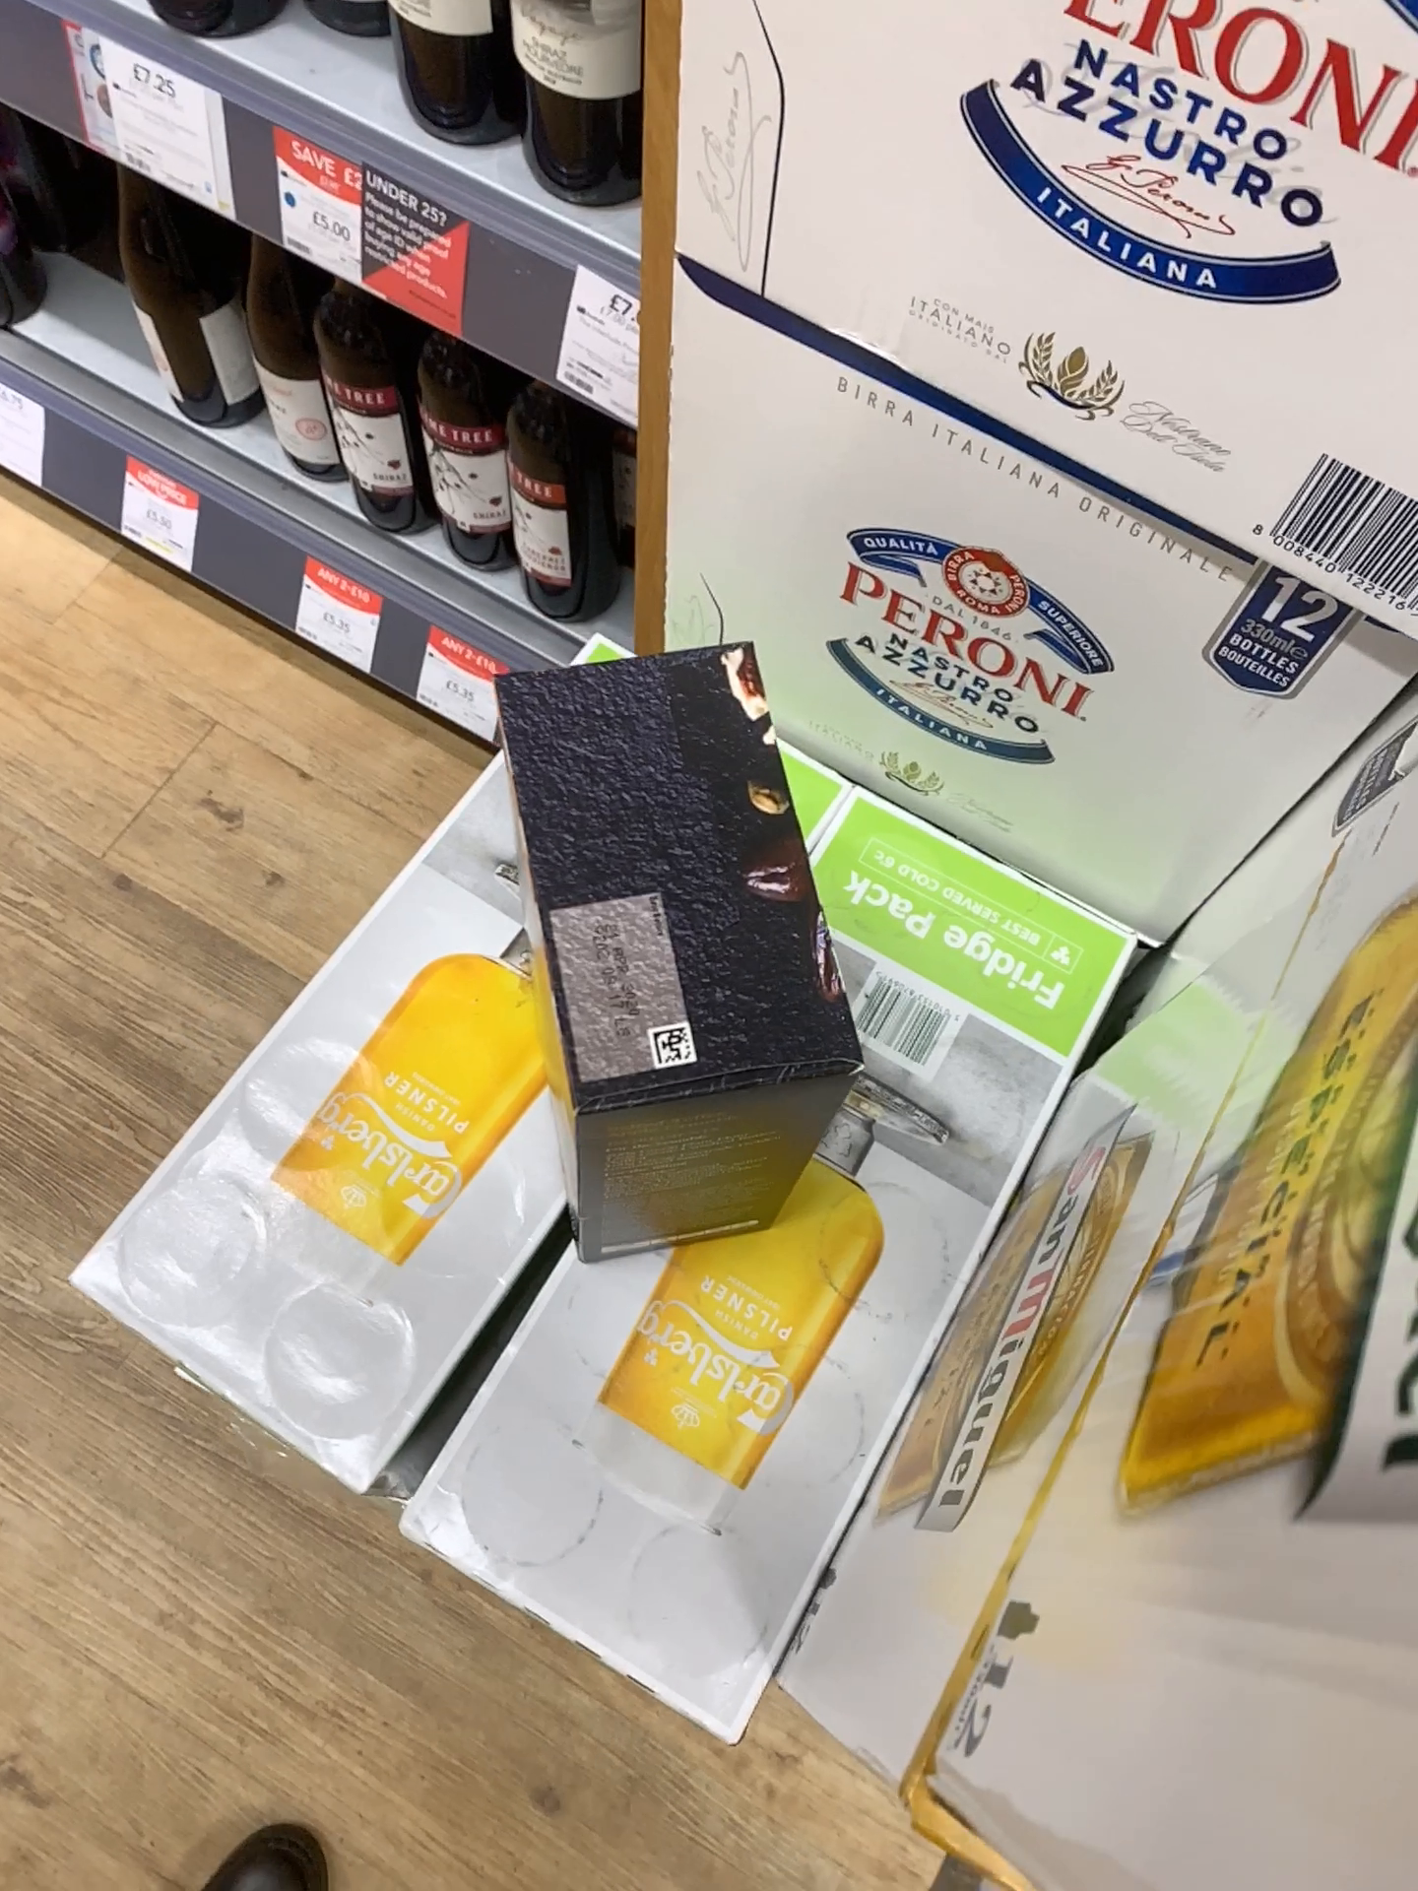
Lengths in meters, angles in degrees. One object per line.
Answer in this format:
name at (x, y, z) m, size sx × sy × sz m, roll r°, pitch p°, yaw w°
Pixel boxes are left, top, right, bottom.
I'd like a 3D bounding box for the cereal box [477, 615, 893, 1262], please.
cereal box at (-0.015, 0.013, 0.452) m, size 0.080 × 0.209 × 0.121 m, roll -10°, pitch 69°, yaw -8°
